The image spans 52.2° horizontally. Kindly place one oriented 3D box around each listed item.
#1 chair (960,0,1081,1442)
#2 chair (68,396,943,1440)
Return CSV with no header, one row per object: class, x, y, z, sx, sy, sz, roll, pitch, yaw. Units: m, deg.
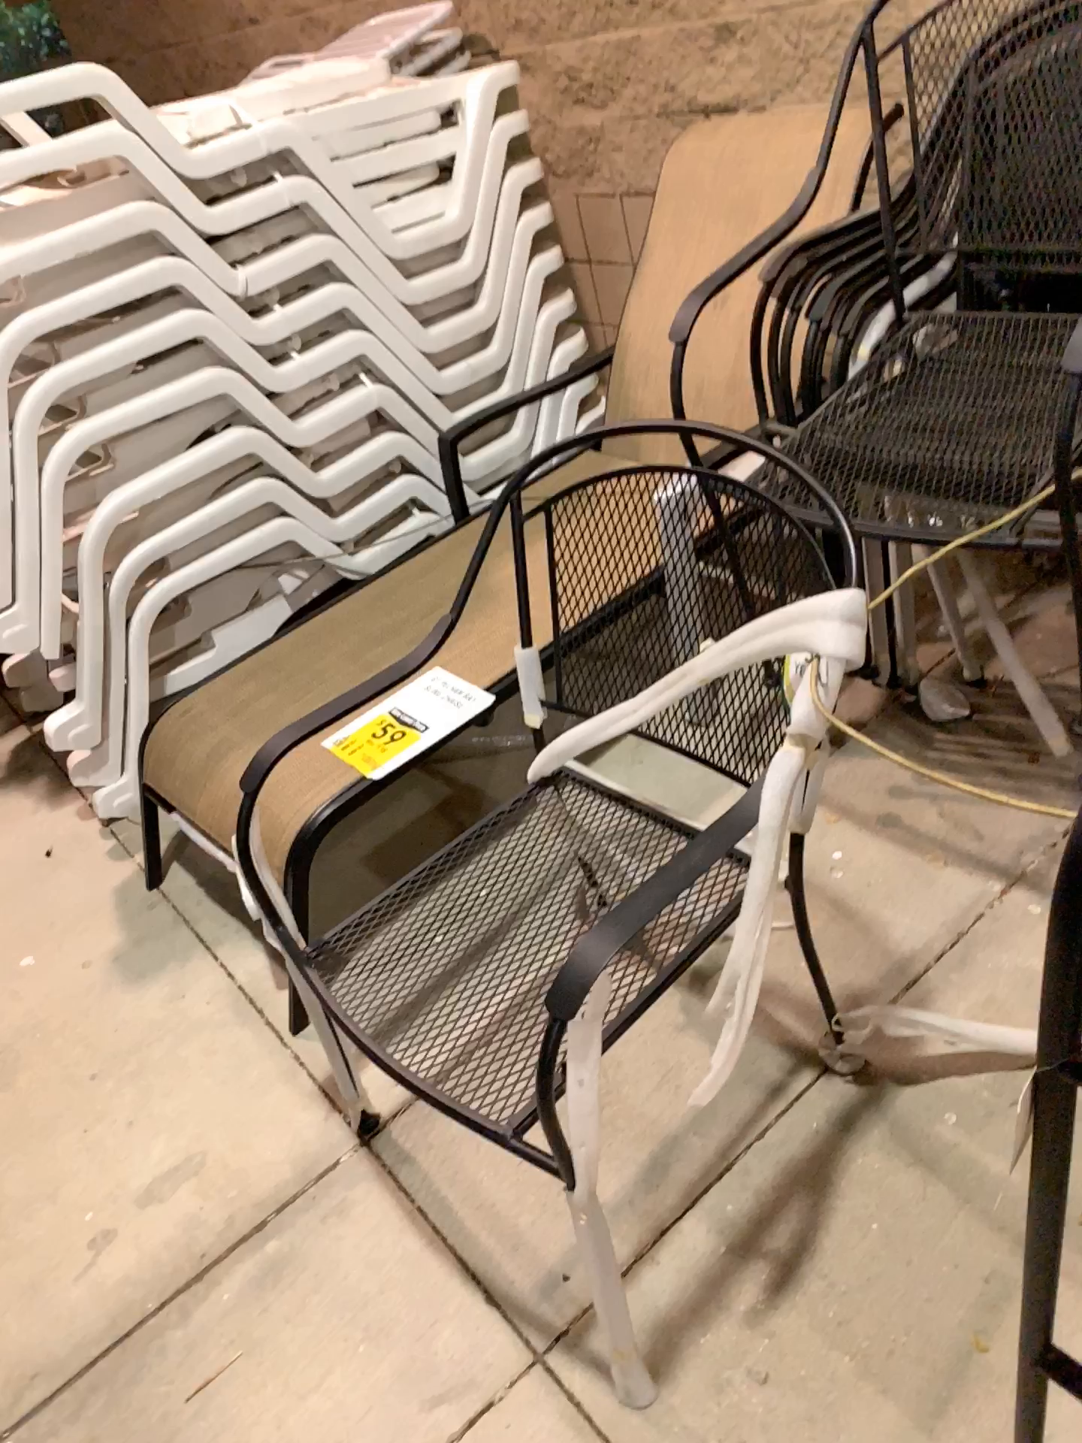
chair,0.762,0.247,0.706,0.708,1.128,0.637,-34,38,-25
chair,0.037,0.184,1.312,0.639,0.870,0.577,-37,40,-28
